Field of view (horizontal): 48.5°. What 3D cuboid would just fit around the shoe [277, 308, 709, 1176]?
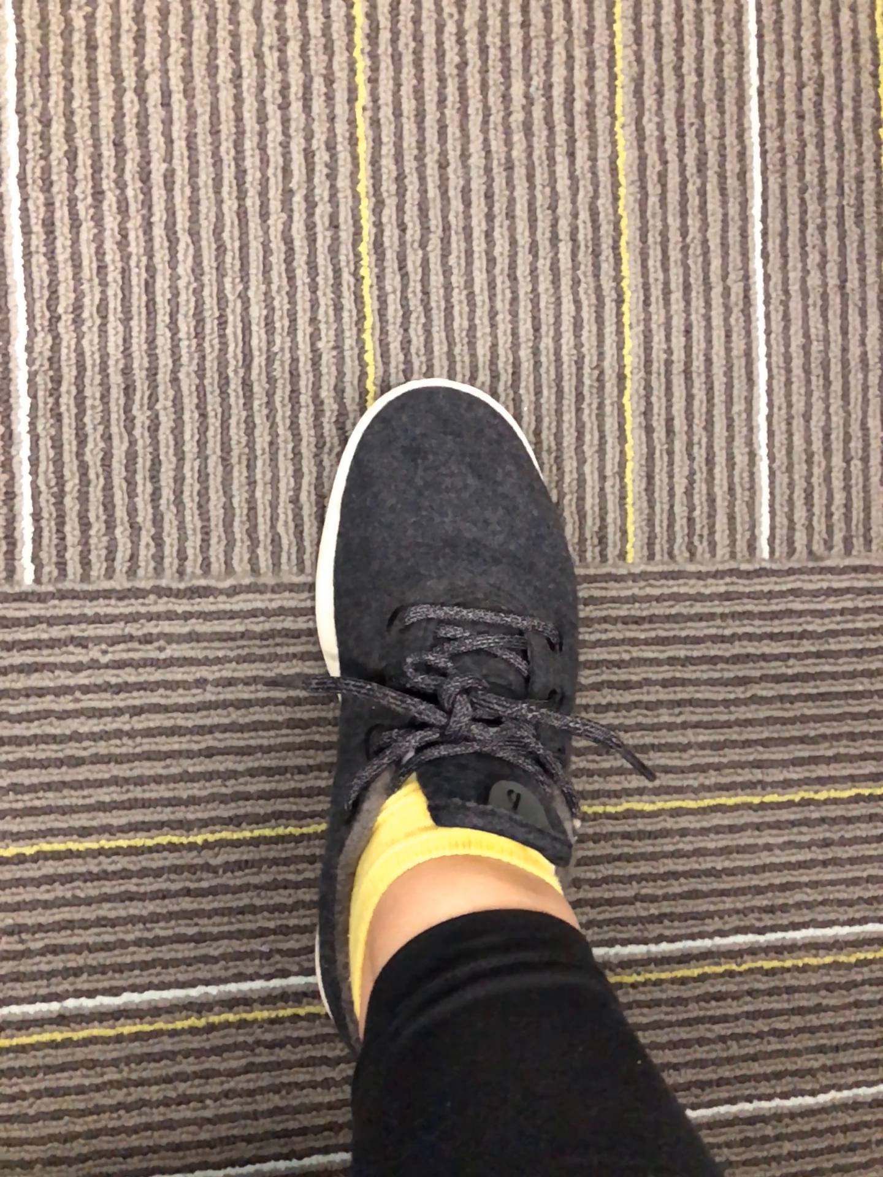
[{"bbox_3d":[0.011,0.050,0.339,0.120,0.080,0.260,3,90,-9],"label":"shoe"}]
